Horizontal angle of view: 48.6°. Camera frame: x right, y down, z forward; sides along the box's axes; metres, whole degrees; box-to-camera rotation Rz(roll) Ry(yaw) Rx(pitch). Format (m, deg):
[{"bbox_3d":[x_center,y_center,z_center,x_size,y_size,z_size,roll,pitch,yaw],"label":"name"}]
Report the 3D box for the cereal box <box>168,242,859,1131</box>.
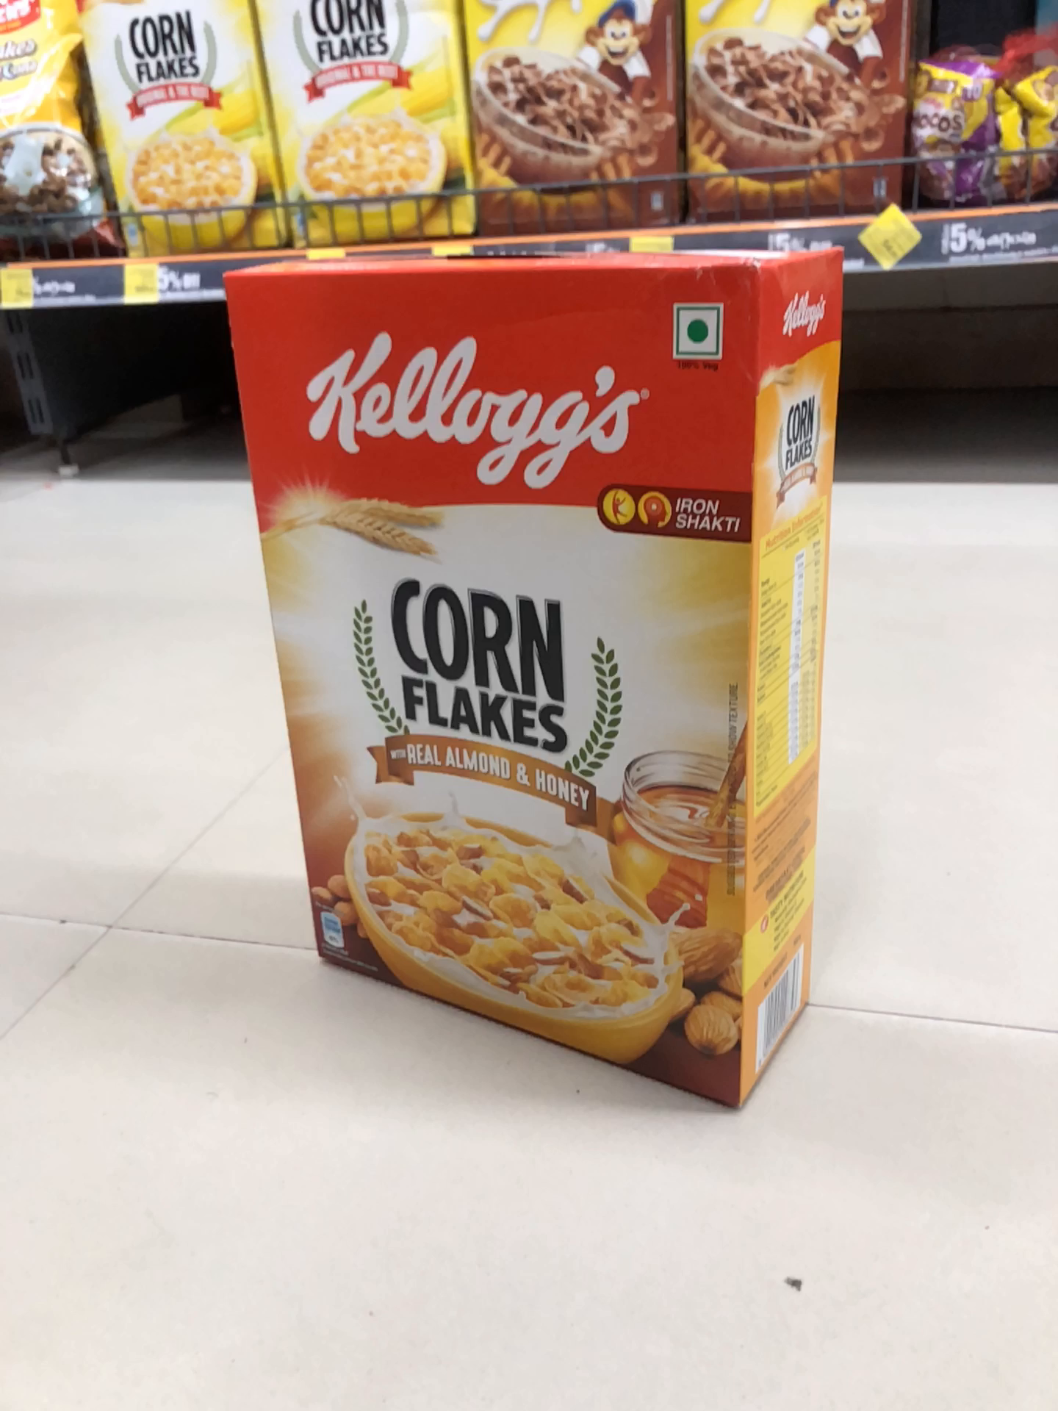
[{"bbox_3d":[-0.003,-0.013,0.384,0.190,0.249,0.070,11,28,30],"label":"cereal box"}]
